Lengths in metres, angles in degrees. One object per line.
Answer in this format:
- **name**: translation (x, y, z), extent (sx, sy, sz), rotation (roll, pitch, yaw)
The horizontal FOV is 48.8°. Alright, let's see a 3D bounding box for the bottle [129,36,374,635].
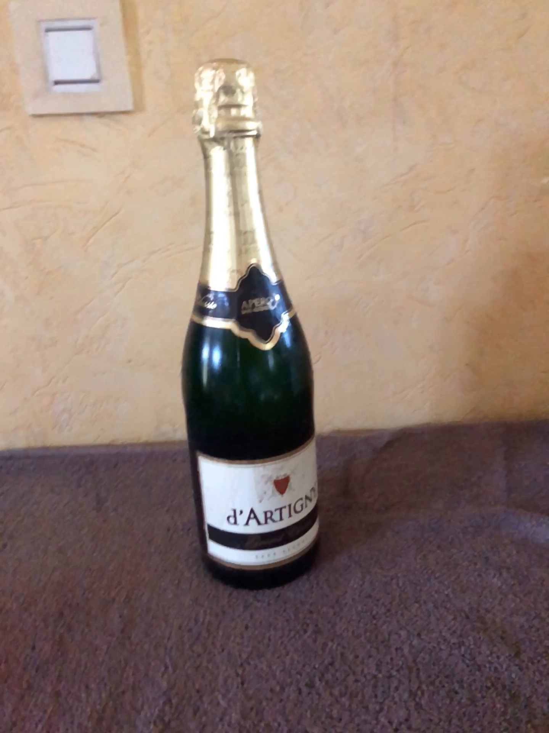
- **bottle**: translation (-0.009, -0.014, 0.370), extent (0.100, 0.318, 0.100), rotation (-3, 20, 1)
